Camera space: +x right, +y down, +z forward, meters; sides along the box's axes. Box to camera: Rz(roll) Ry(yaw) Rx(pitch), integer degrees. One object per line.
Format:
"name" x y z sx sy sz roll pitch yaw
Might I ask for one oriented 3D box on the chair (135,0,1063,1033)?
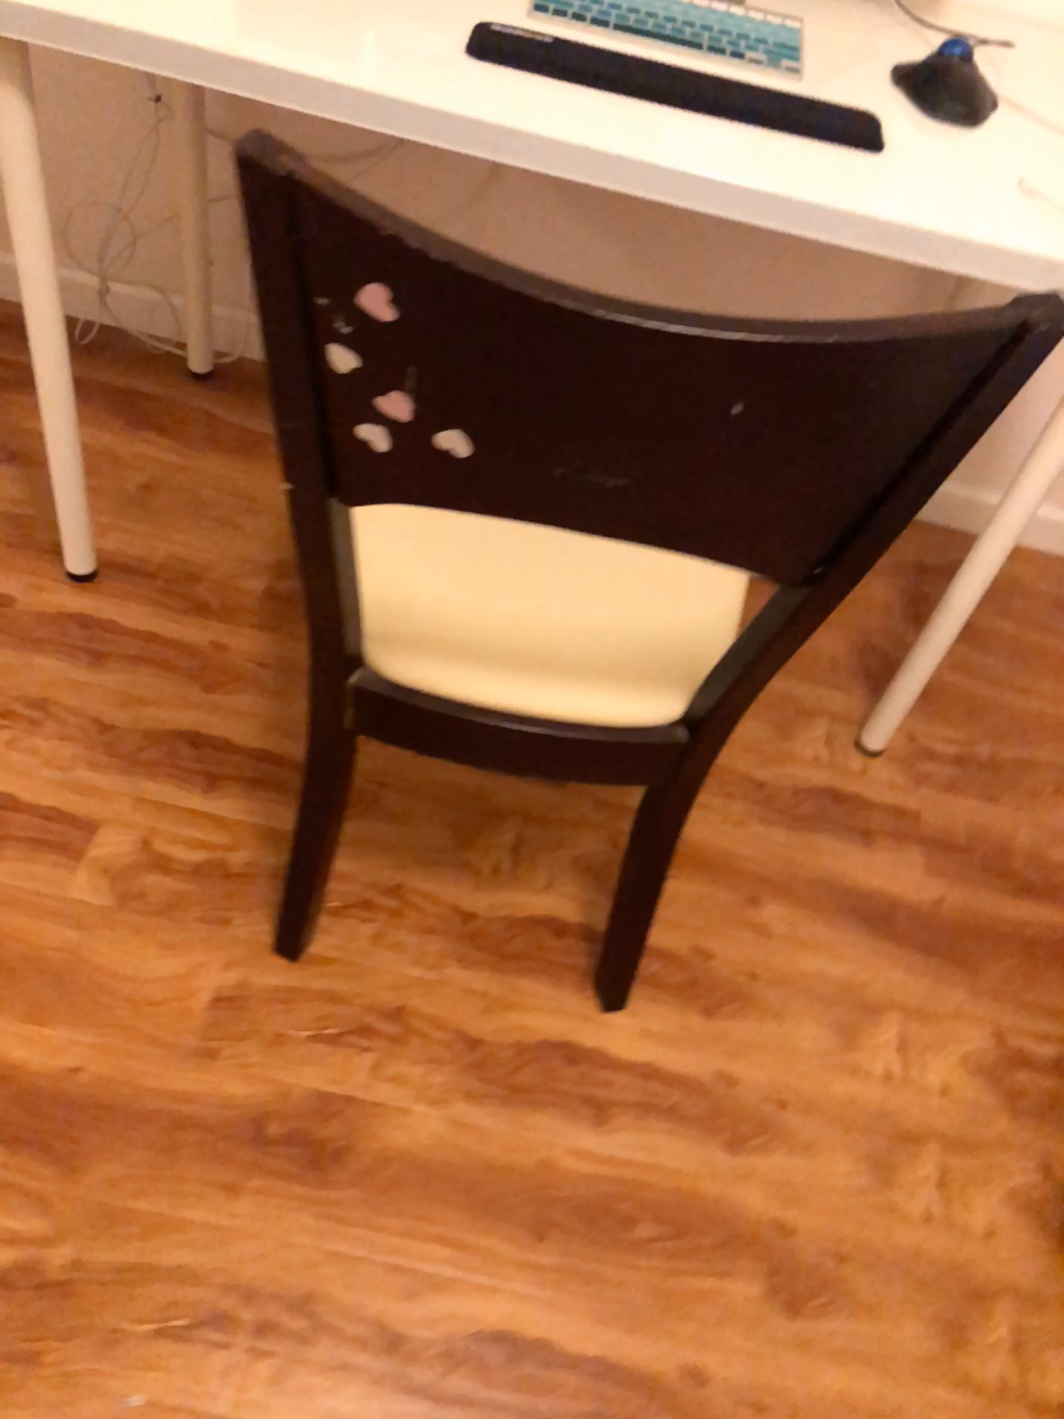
"chair" 0.022 -0.155 1.041 0.530 0.846 0.513 9 51 -6
